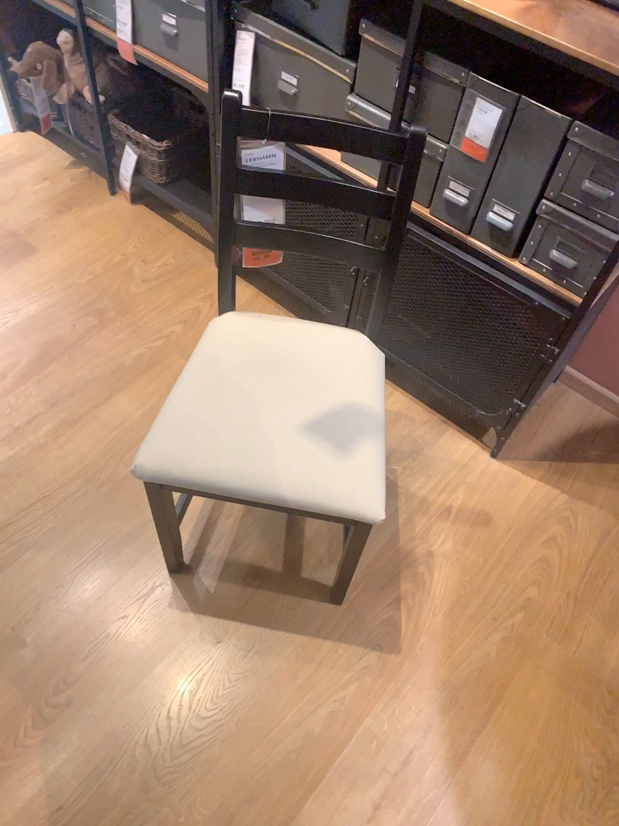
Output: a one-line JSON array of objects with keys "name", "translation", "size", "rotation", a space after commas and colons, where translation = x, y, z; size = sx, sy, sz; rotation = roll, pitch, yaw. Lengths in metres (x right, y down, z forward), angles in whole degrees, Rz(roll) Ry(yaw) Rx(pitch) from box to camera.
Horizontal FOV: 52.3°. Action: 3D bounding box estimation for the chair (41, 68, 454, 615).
[{"name": "chair", "translation": [-0.064, -0.051, 1.077], "size": [0.400, 0.768, 0.471], "rotation": [11, 54, 2]}]
